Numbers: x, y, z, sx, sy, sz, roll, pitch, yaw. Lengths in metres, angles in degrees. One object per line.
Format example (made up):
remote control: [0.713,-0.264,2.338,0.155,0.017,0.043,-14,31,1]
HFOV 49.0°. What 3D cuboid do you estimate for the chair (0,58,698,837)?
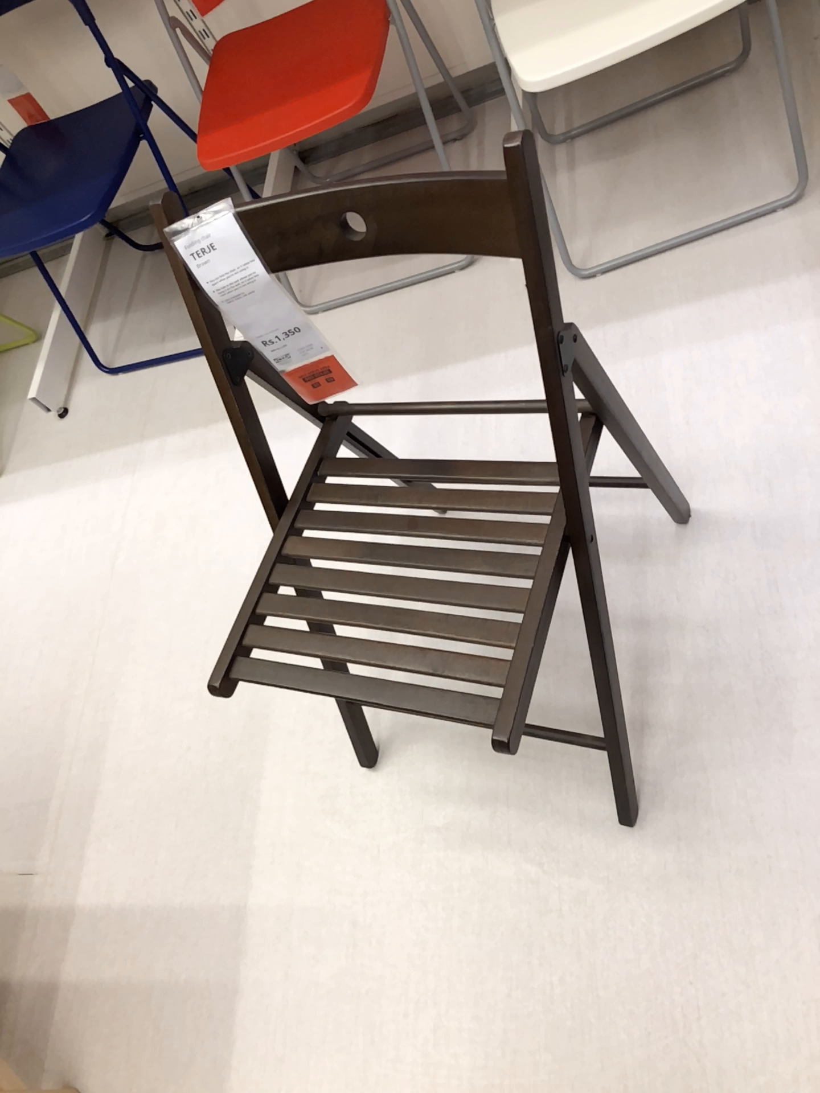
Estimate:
chair: [0.012,-0.026,1.080,0.462,0.776,0.501,4,66,29]
